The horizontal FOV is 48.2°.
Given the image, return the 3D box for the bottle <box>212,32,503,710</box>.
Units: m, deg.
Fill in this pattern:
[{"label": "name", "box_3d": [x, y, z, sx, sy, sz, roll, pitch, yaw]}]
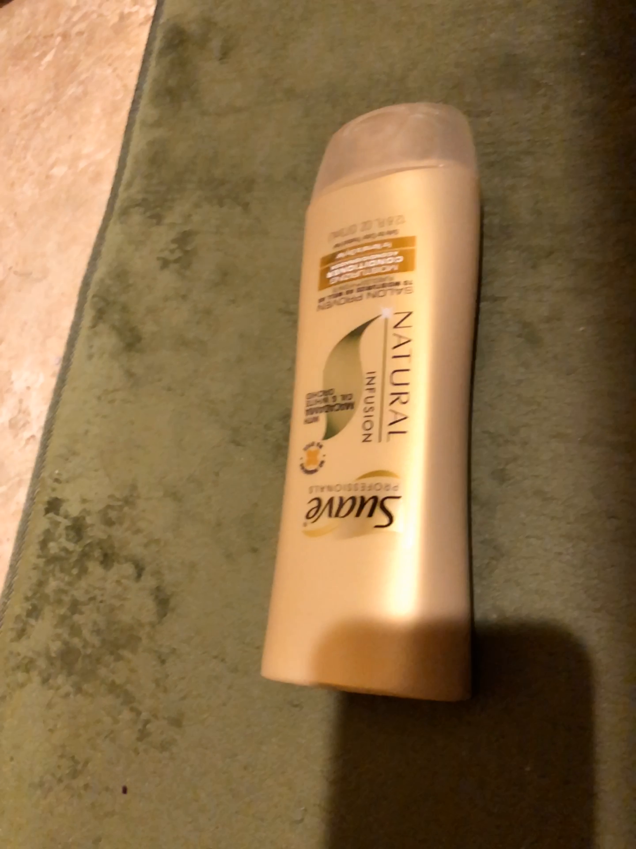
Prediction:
[{"label": "bottle", "box_3d": [0.020, -0.020, 0.259, 0.080, 0.050, 0.220, -5, 72, 31]}]
